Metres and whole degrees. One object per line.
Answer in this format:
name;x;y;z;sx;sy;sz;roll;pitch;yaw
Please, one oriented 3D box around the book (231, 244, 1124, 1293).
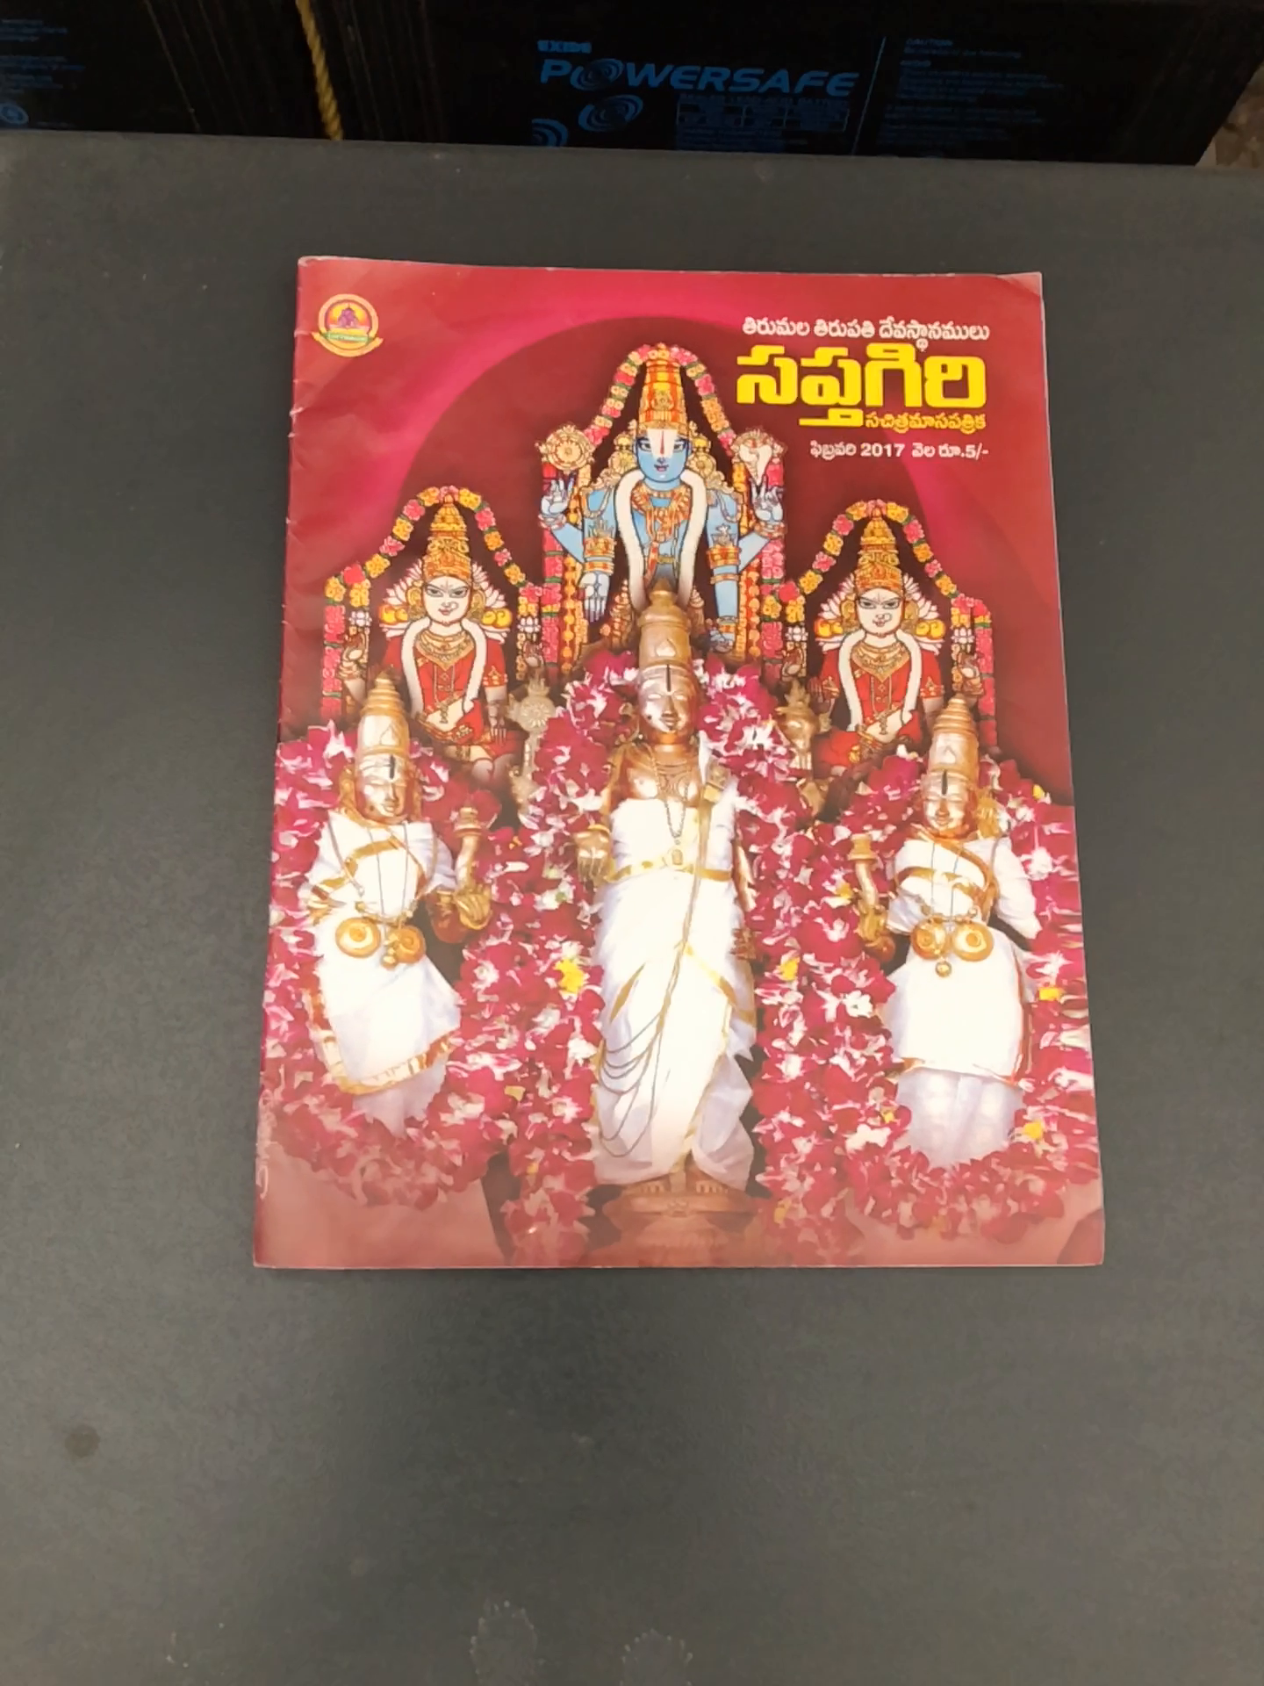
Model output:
book;0.010;-0.025;0.354;0.200;0.030;0.260;0;78;-2
